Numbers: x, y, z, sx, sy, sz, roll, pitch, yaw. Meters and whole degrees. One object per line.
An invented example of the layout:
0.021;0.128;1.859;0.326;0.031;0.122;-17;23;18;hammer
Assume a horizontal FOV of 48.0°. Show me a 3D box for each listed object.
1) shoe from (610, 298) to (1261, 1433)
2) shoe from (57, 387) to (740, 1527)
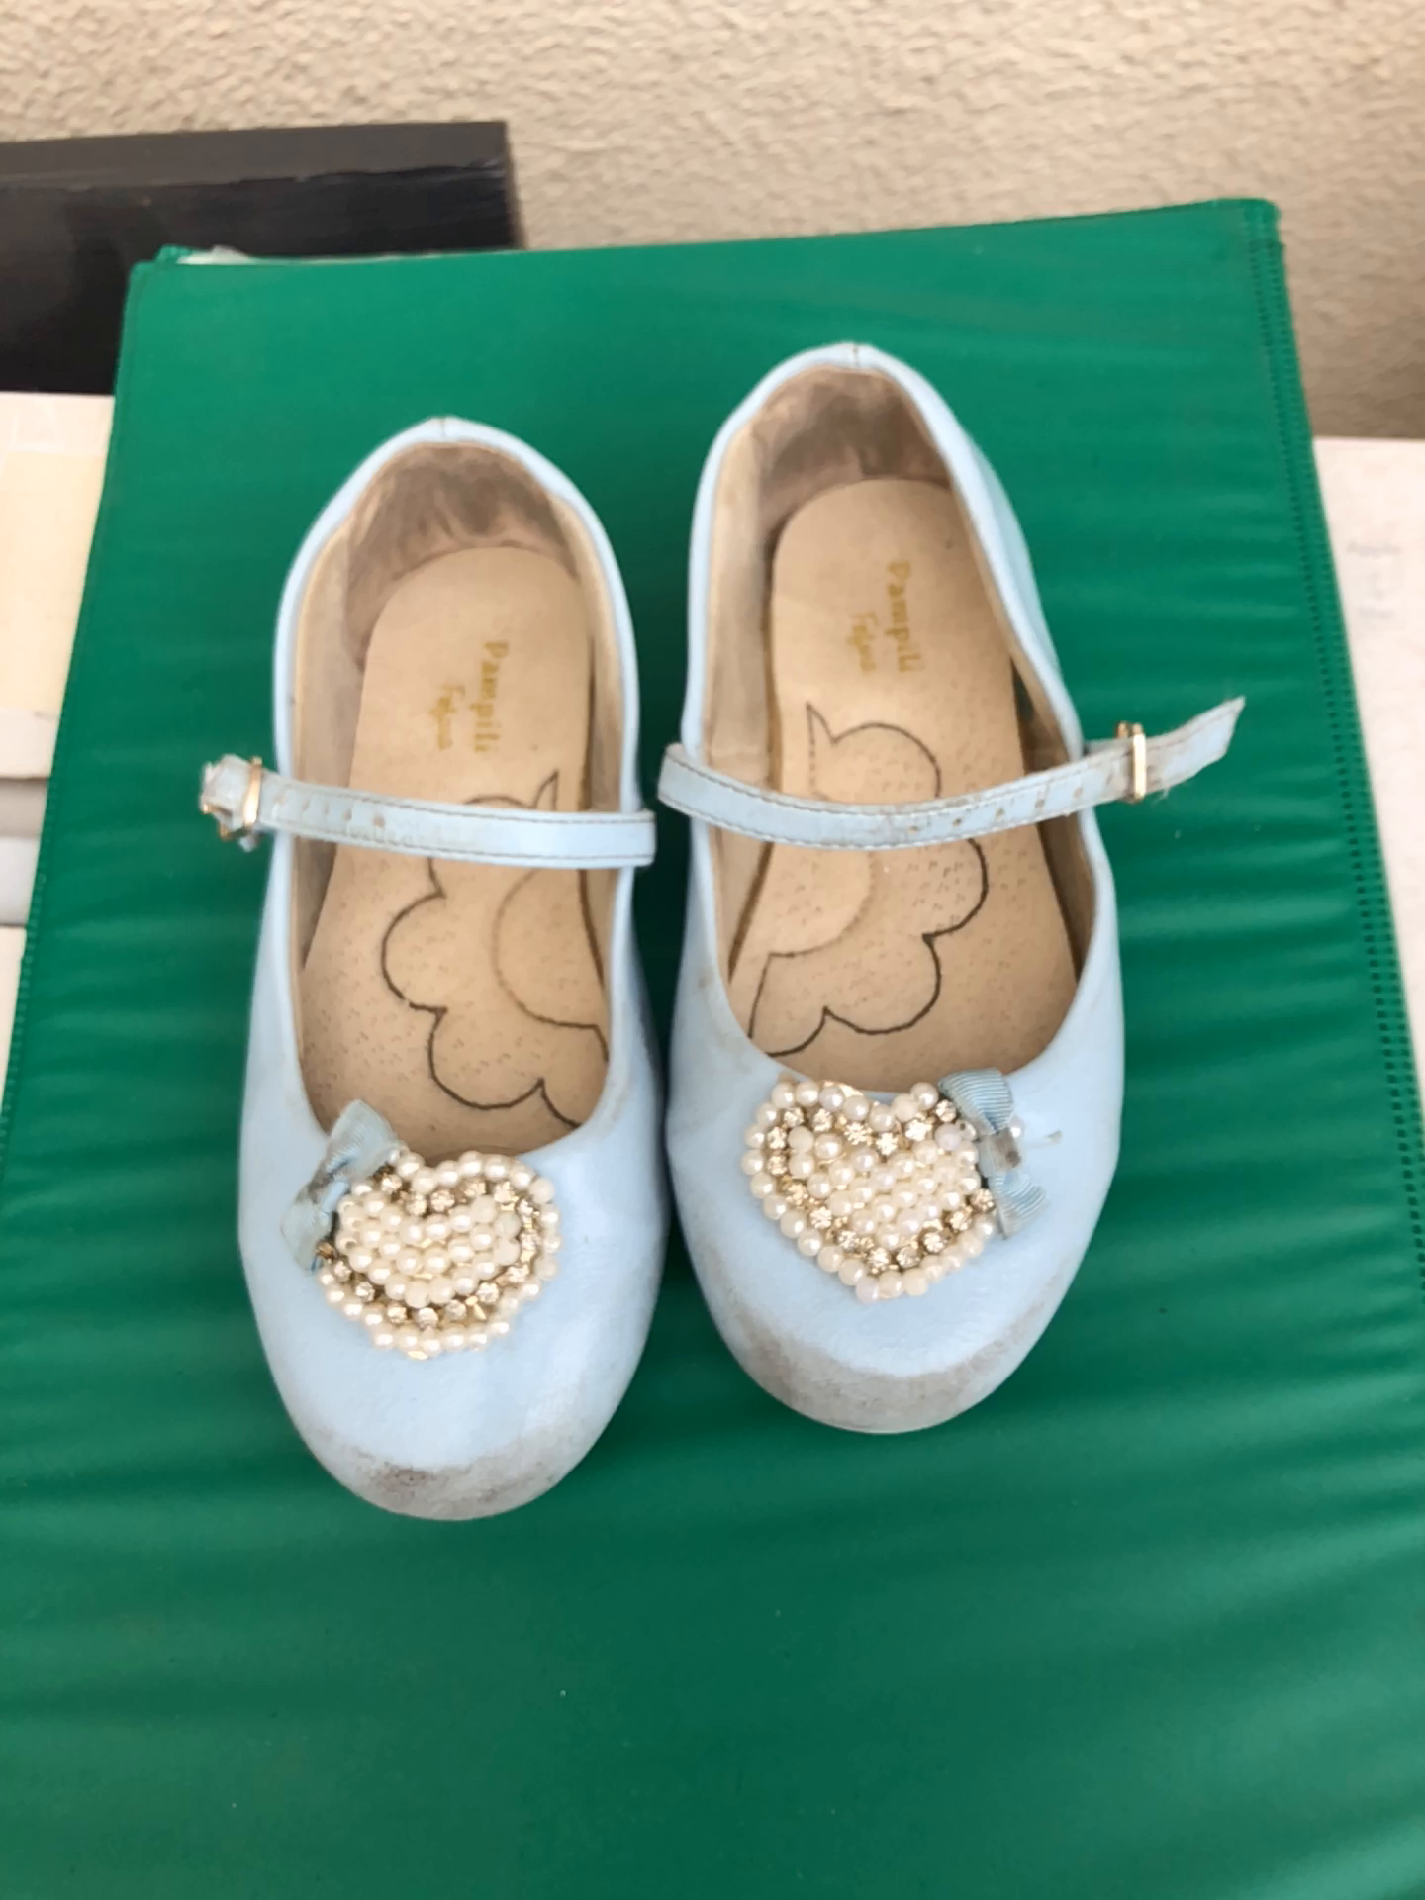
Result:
0.027;-0.015;0.253;0.080;0.050;0.170;-2;71;0;shoe
-0.042;-0.001;0.254;0.086;0.050;0.170;-2;71;0;shoe
